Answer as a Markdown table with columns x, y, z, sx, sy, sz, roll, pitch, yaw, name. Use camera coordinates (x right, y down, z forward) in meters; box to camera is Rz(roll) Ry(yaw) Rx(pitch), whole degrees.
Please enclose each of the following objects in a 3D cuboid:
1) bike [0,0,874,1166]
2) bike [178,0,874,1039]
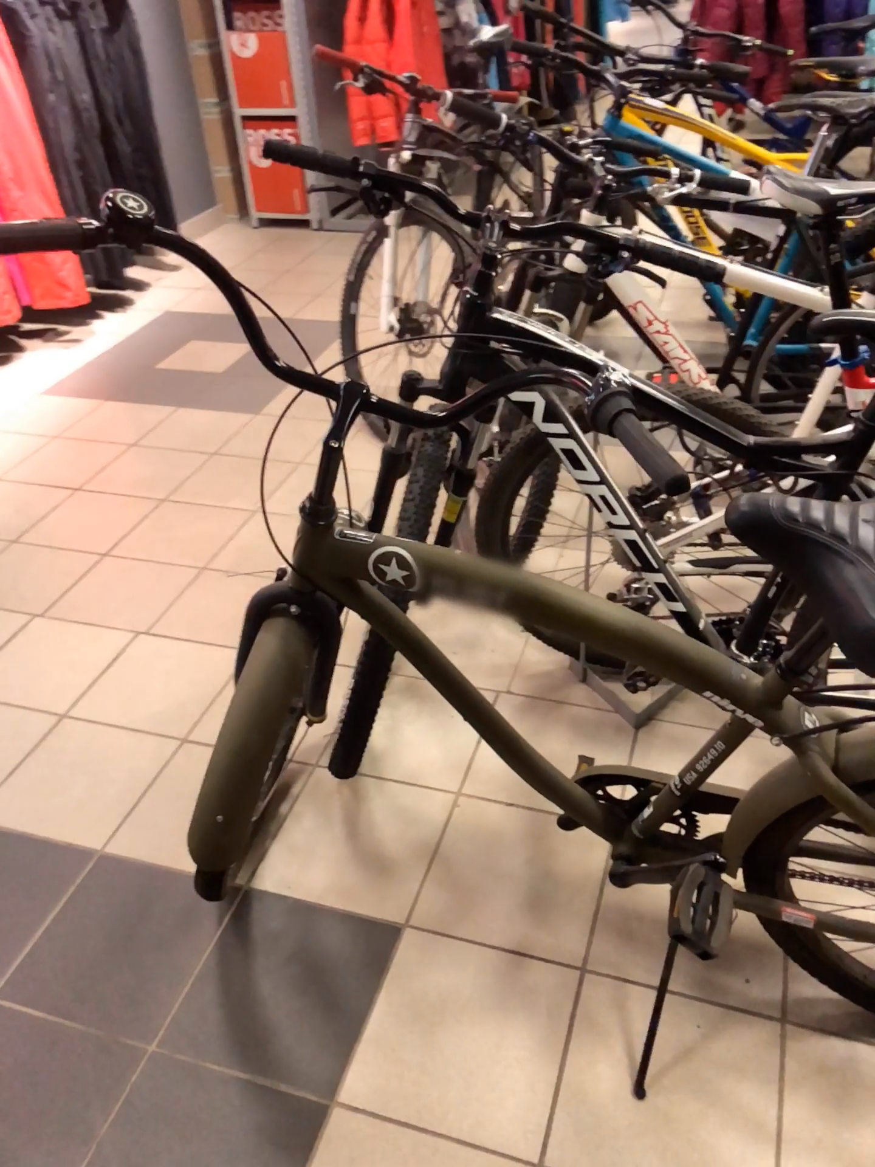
| x | y | z | sx | sy | sz | roll | pitch | yaw | name |
| --- | --- | --- | --- | --- | --- | --- | --- | --- | --- |
| 0.340 | 0.010 | 1.184 | 1.498 | 1.130 | 0.835 | 22 | 42 | 28 | bike |
| 0.279 | -0.240 | 1.542 | 0.975 | 1.228 | 0.666 | 22 | 41 | 22 | bike |
